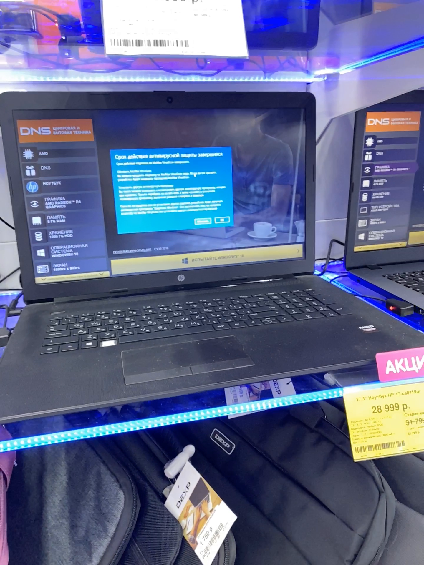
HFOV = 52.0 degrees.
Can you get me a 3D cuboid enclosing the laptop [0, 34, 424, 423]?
[{"bbox_3d":[-0.018,-0.082,0.477,0.419,0.260,0.295,-6,17,-14],"label":"laptop"}]
